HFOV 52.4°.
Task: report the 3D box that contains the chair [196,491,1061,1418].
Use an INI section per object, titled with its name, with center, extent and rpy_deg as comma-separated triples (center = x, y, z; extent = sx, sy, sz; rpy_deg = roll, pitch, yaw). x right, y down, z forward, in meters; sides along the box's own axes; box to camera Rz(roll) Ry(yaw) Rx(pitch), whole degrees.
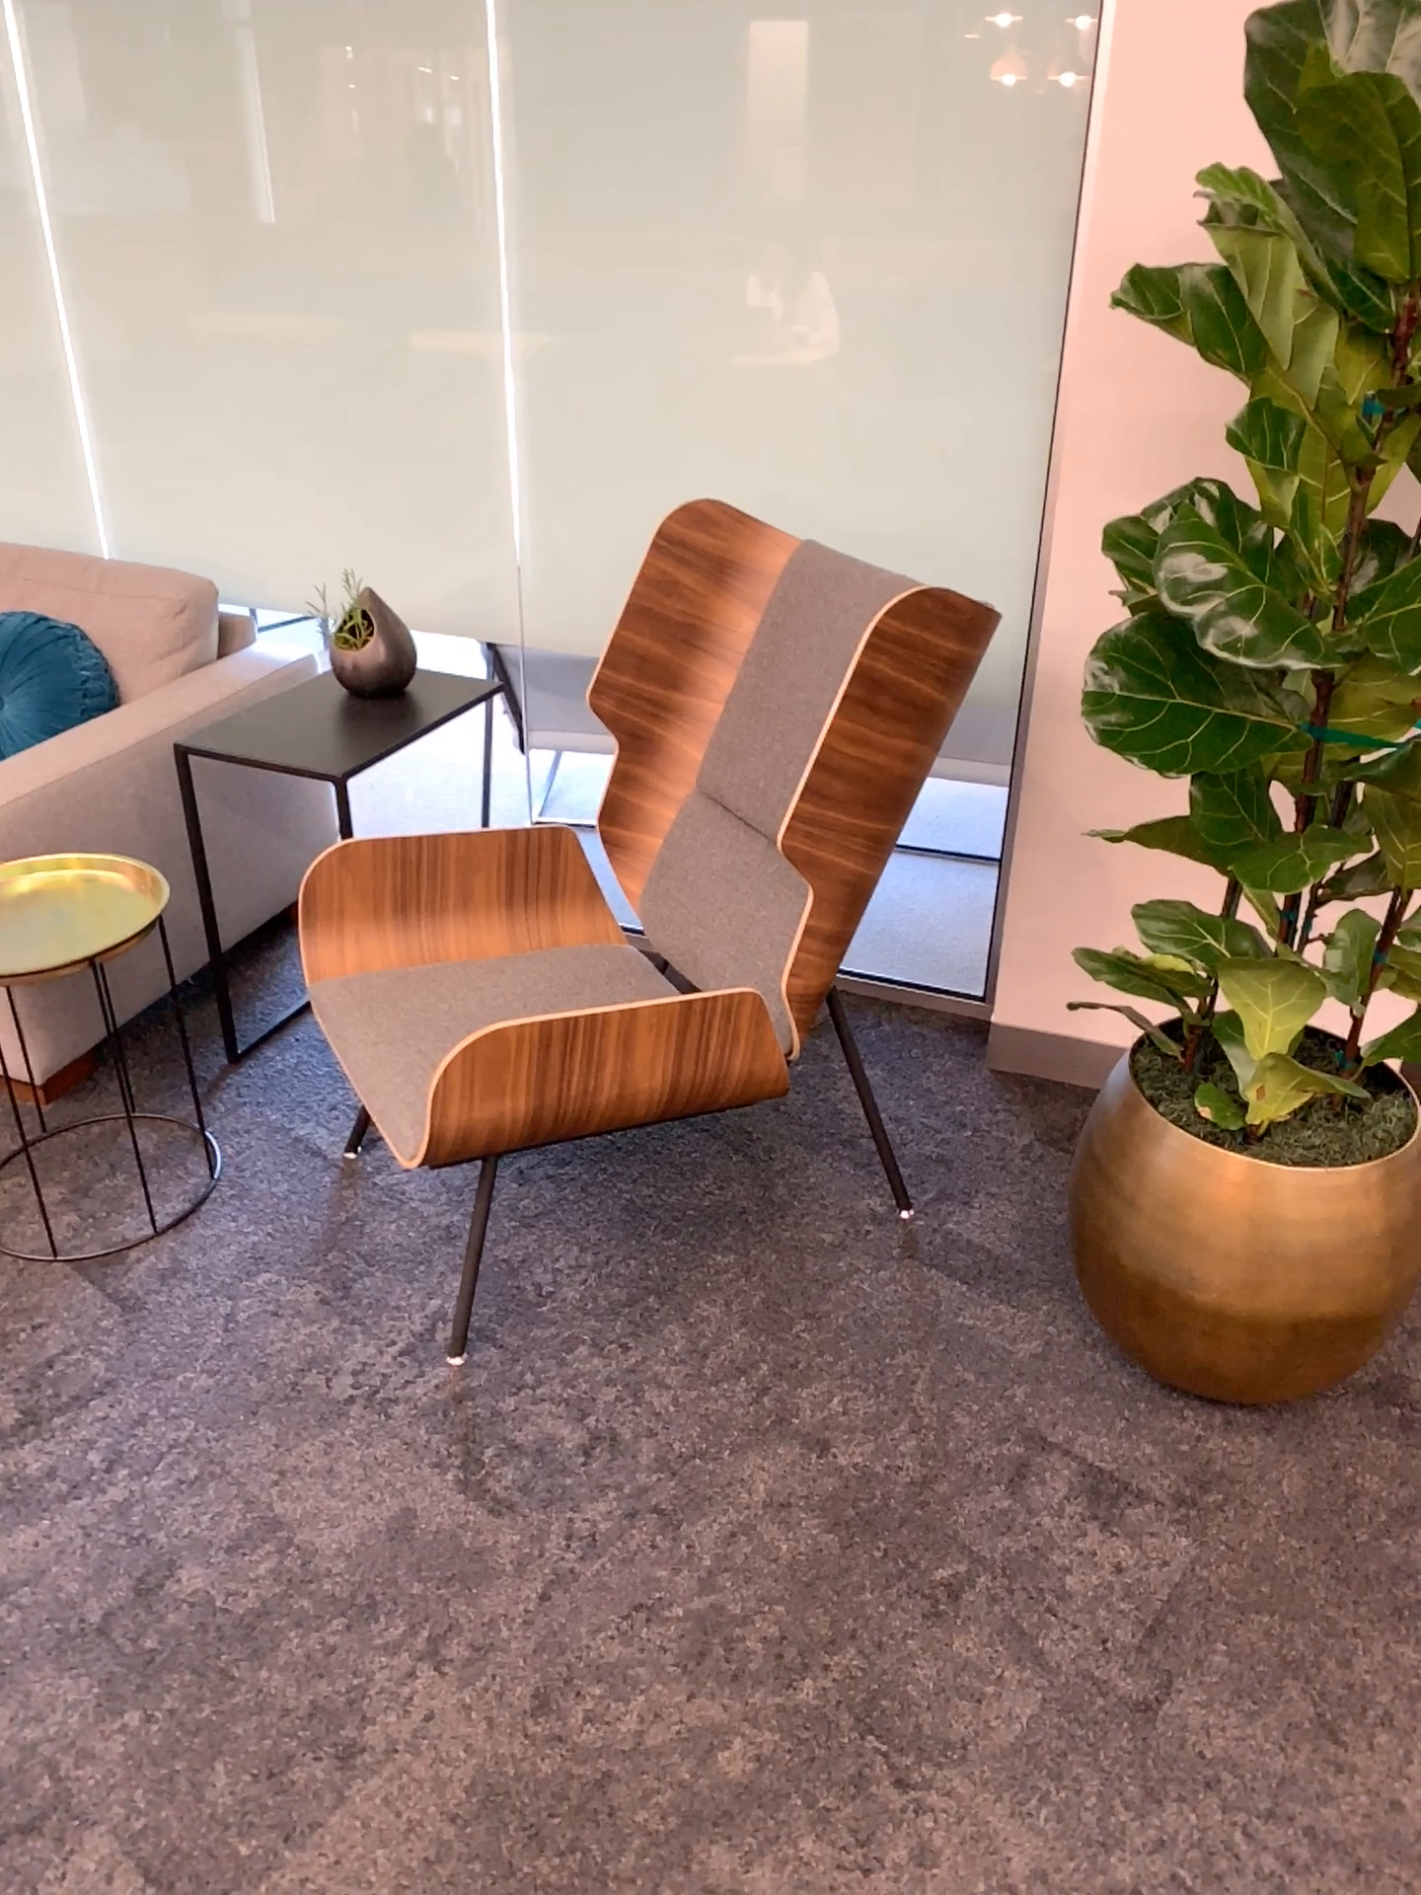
[chair]
center = -0.164, -0.089, 2.268
extent = 0.930, 0.994, 0.885
rpy_deg = -14, 31, -25
